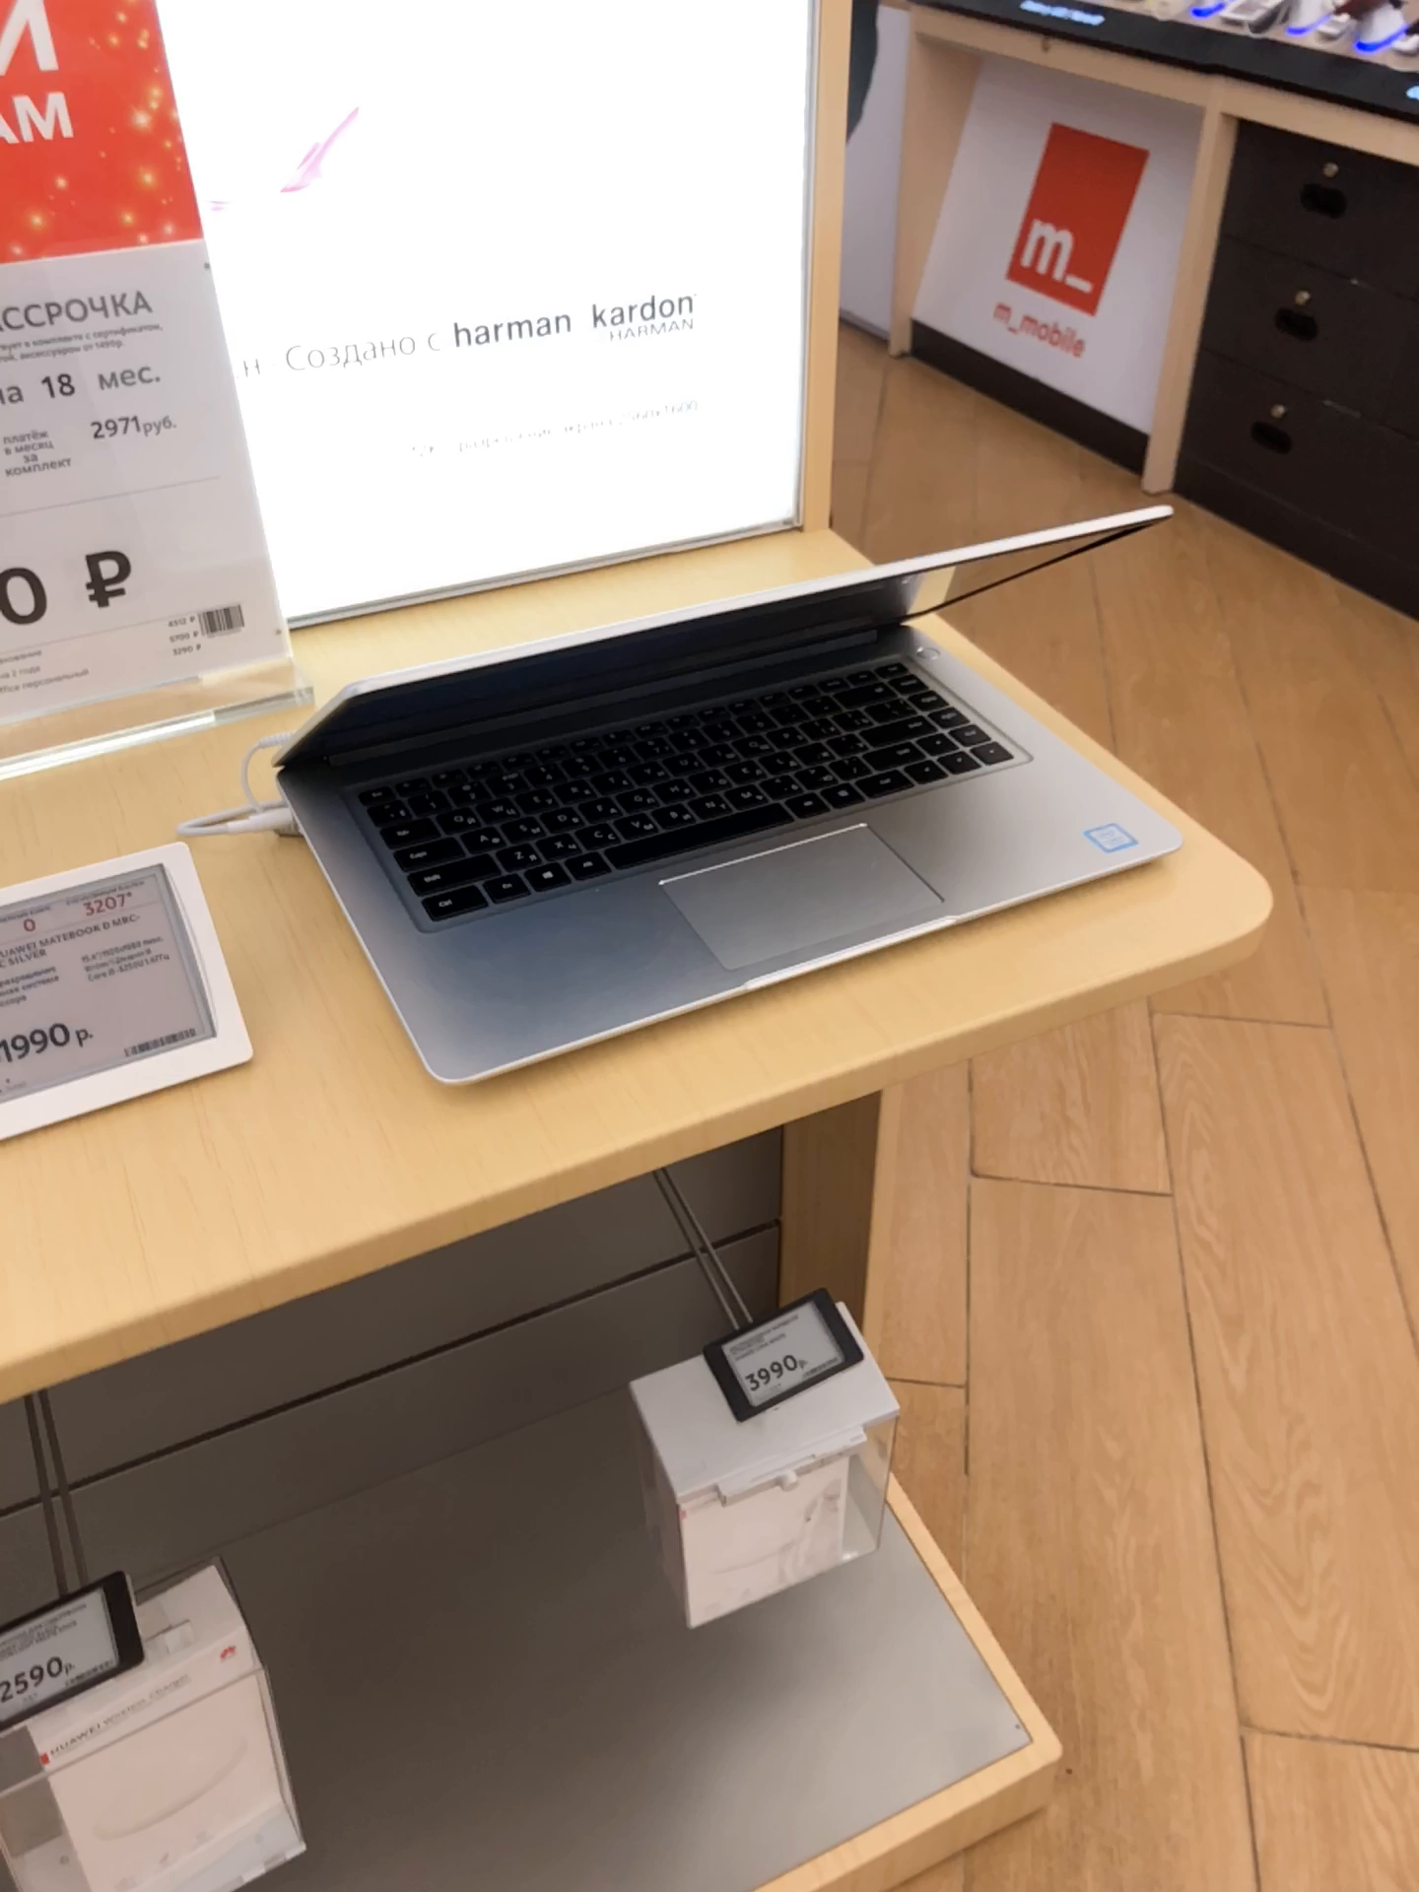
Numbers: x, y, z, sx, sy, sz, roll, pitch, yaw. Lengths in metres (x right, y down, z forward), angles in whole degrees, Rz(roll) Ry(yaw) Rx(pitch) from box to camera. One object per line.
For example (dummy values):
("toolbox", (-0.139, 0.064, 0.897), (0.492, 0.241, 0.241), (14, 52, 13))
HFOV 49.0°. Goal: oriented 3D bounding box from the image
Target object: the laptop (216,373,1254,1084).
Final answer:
("laptop", (0.004, -0.115, 0.662), (0.343, 0.135, 0.231), (-17, 42, -21))
